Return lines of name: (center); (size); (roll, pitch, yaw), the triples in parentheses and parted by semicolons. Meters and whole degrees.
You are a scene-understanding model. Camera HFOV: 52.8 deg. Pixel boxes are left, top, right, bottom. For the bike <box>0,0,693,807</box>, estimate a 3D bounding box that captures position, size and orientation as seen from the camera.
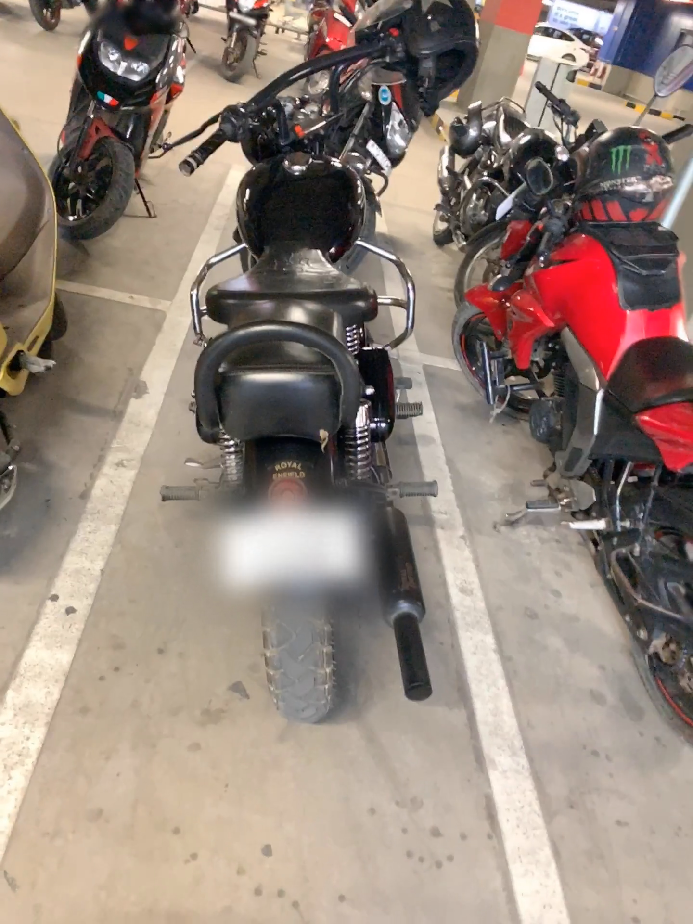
bike: (-0.315, -0.452, 1.839); (0.799, 1.304, 2.031); (6, 34, -15)
